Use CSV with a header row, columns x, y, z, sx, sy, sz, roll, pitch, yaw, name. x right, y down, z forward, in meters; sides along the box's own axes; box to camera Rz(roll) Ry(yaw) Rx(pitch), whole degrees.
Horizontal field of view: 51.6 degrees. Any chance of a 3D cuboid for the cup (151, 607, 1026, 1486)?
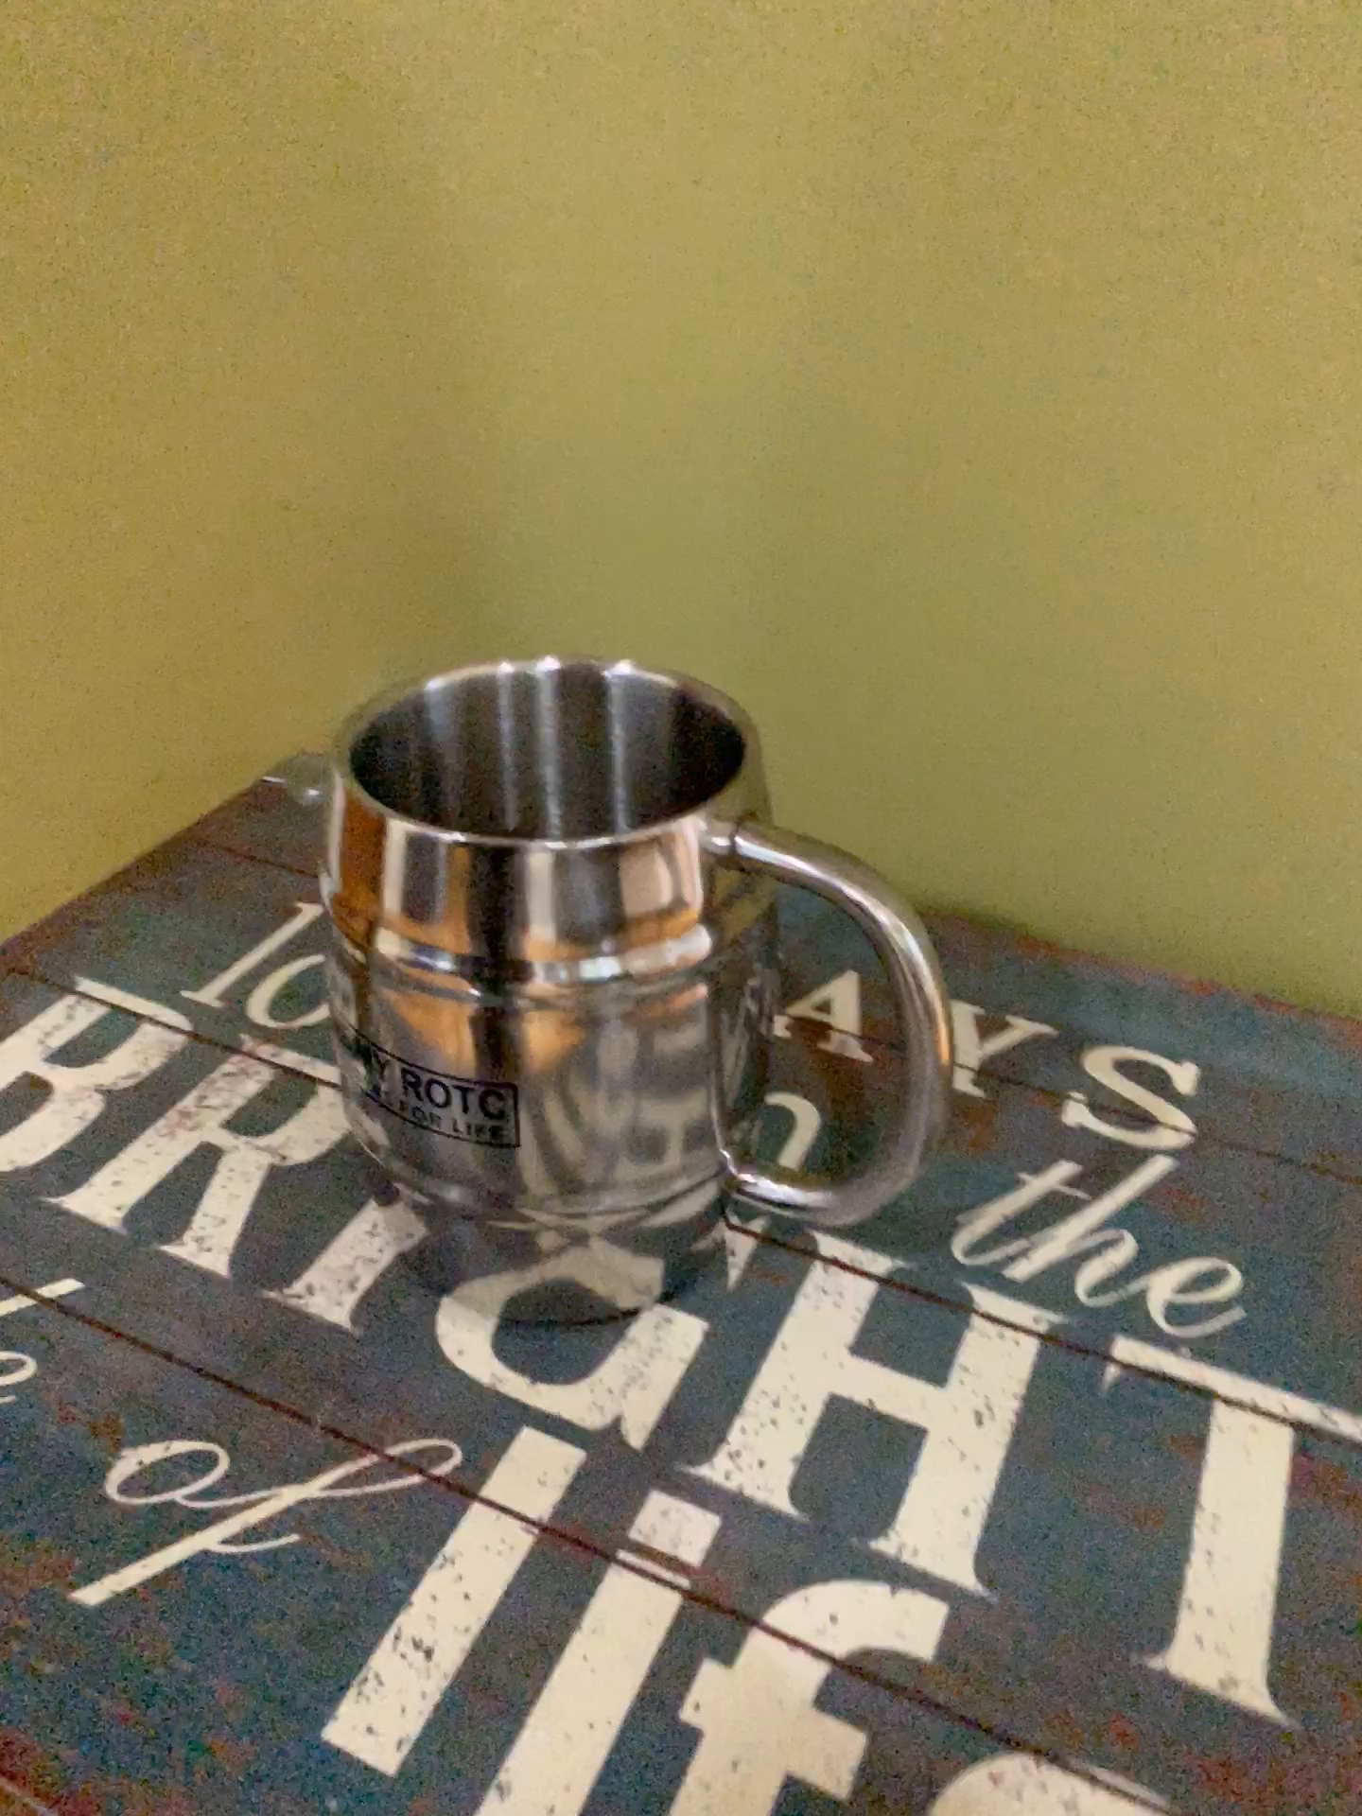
x,y,z,sx,sy,sz,roll,pitch,yaw,name
-0.013,0.020,0.280,0.129,0.113,0.089,14,35,20,cup
